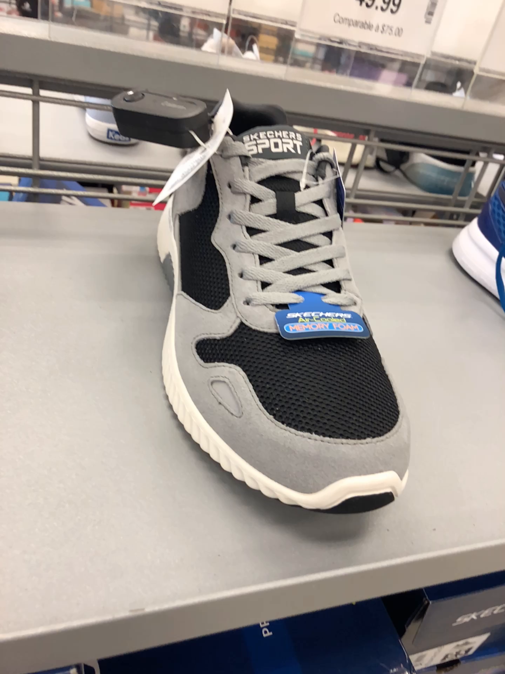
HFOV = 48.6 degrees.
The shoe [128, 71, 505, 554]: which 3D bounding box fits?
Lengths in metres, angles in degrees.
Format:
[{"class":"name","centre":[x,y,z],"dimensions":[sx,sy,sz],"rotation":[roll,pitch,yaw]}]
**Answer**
[{"class":"shoe","centre":[0.002,-0.048,0.328],"dimensions":[0.120,0.119,0.302],"rotation":[3,35,-18]}]
